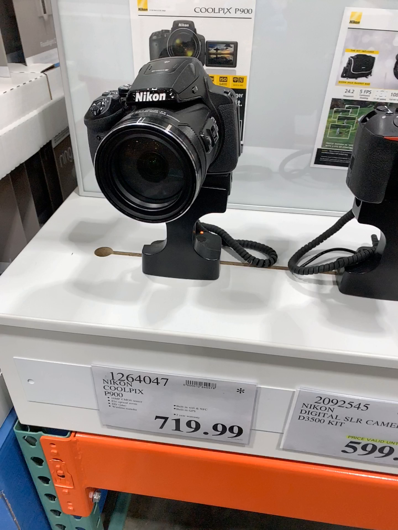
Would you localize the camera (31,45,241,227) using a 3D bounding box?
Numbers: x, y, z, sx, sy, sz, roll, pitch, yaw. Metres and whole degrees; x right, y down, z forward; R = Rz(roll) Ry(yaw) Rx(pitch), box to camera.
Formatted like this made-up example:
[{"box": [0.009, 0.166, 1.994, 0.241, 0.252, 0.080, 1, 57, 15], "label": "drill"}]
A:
[{"box": [-0.036, -0.121, 0.362, 0.130, 0.109, 0.151, 3, 35, 10], "label": "camera"}]
